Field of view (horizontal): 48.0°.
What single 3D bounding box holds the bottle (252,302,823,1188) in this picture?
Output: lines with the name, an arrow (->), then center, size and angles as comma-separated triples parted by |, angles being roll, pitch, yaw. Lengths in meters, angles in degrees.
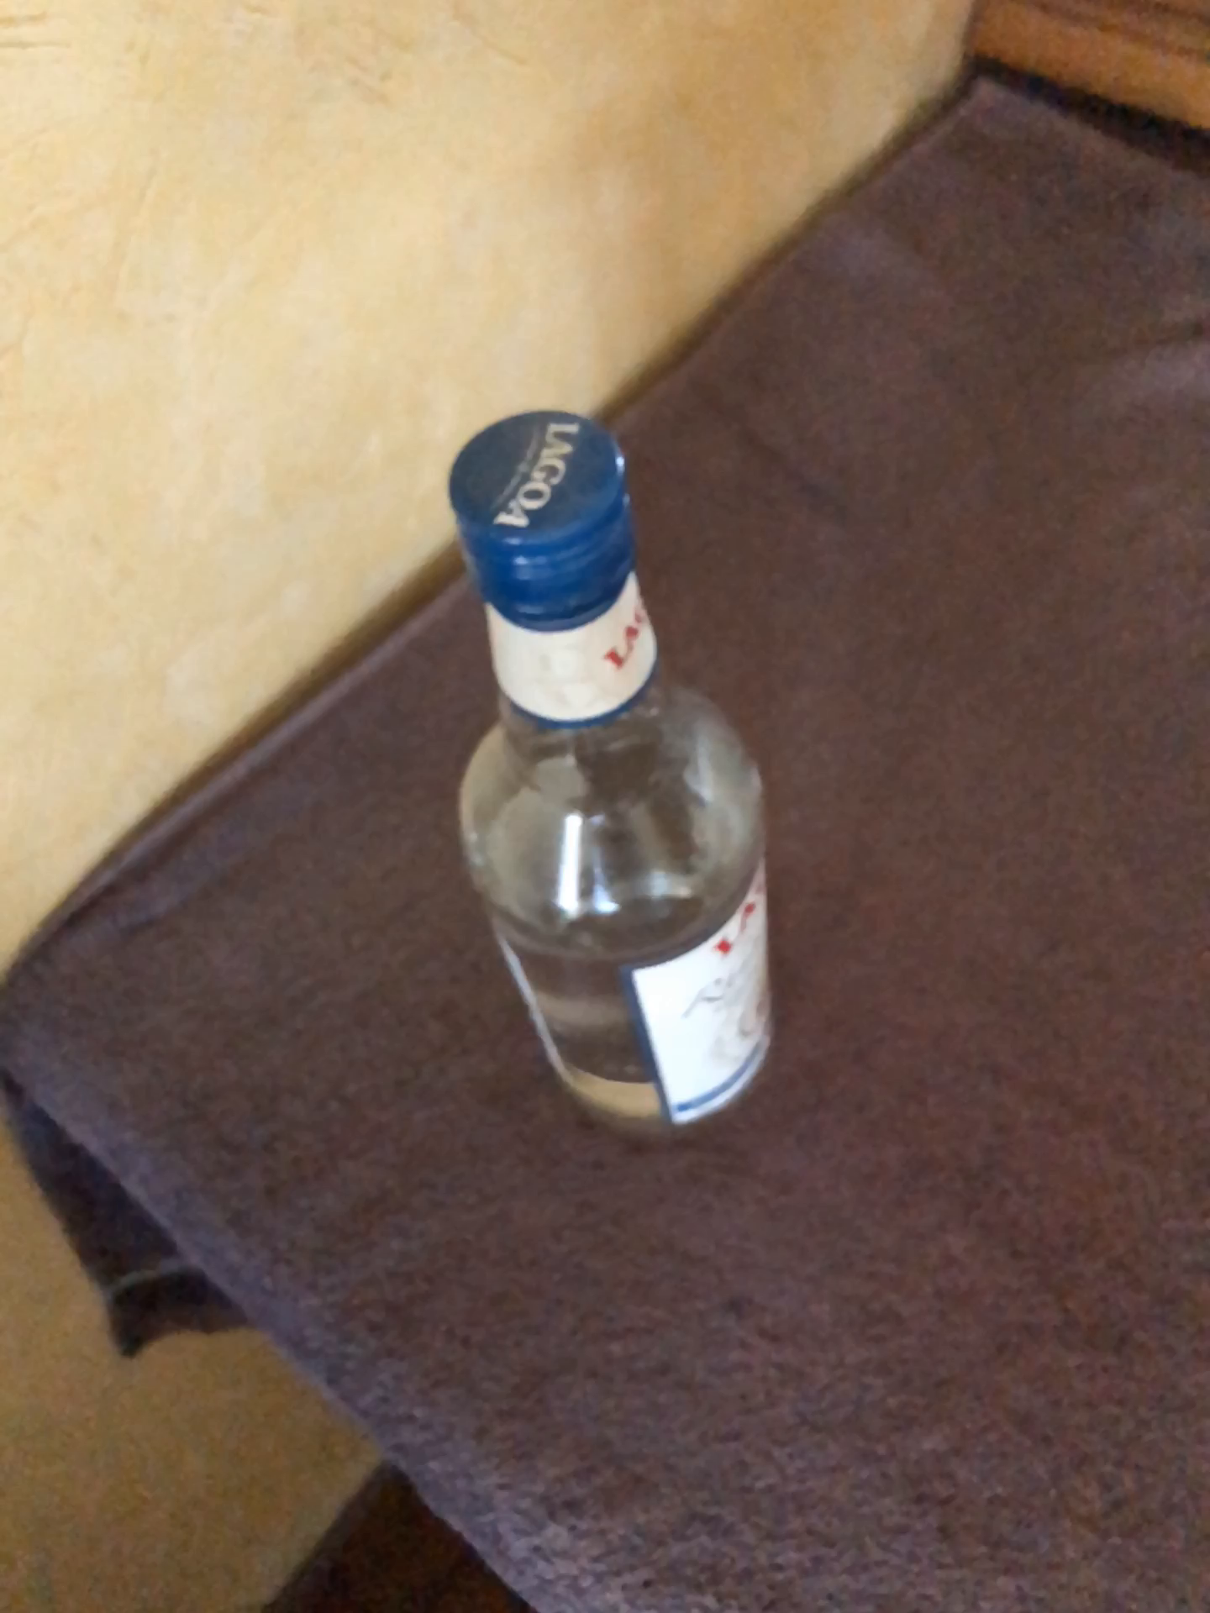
bottle -> 0.007, 0.014, 0.337 | 0.080, 0.269, 0.080 | -3, 59, 6
